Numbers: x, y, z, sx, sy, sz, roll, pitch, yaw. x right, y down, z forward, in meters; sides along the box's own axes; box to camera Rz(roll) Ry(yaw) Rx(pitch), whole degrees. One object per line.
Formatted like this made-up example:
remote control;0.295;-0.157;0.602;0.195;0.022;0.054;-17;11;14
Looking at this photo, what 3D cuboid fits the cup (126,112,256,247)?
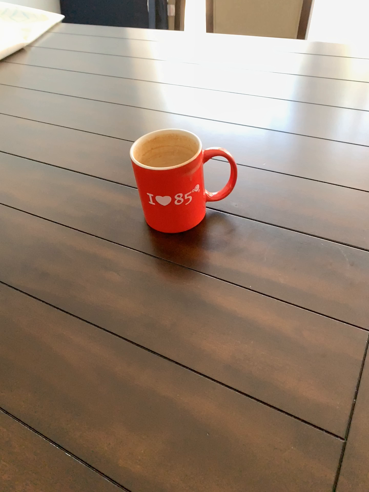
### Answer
cup;0.008;-0.076;0.434;0.120;0.100;0.080;-15;46;-7
